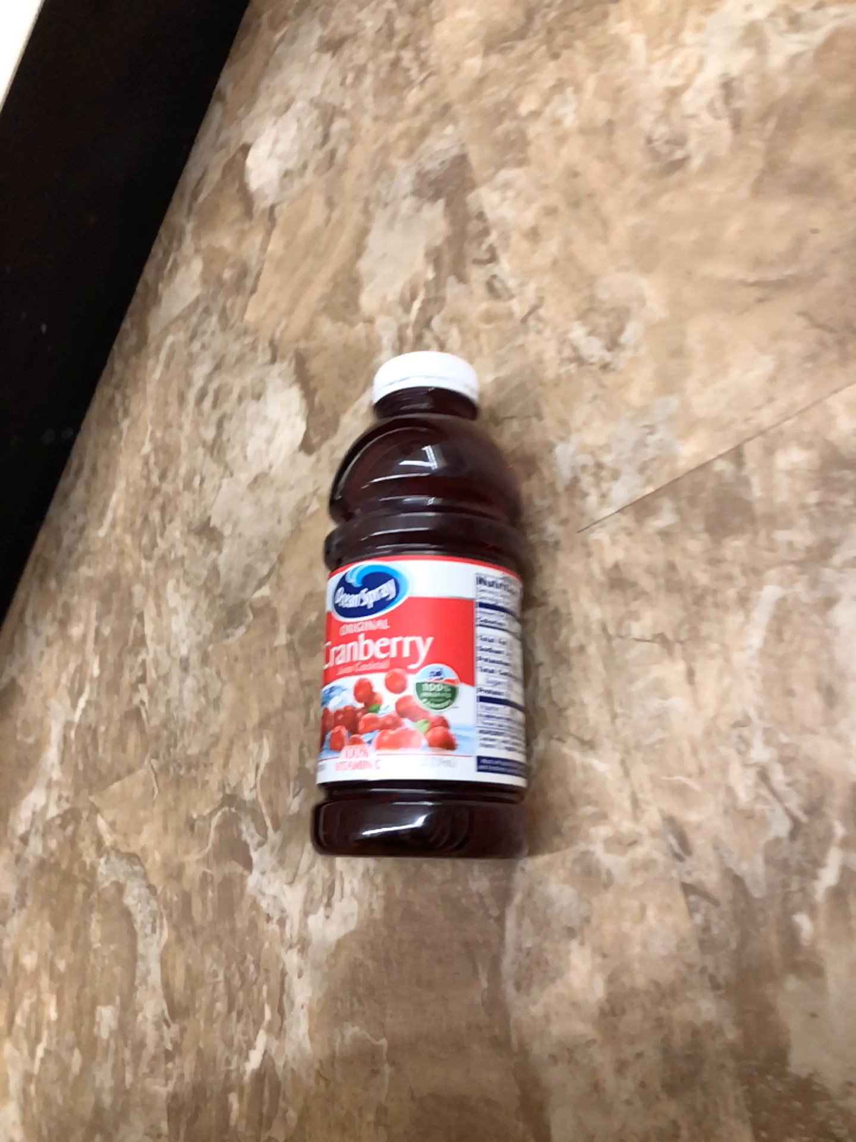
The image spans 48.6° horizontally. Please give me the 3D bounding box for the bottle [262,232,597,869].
[{"bbox_3d":[0.003,-0.001,0.380,0.090,0.083,0.226,-14,67,40],"label":"bottle"}]
